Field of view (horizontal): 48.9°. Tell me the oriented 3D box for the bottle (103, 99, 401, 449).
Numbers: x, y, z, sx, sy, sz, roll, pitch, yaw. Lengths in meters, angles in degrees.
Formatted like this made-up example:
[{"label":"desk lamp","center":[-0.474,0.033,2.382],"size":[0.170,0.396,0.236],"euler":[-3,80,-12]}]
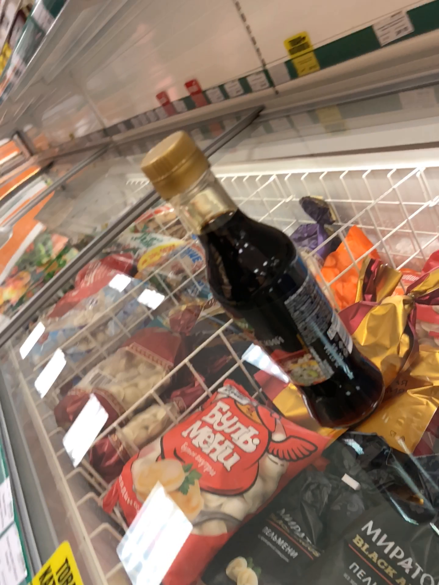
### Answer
[{"label":"bottle","center":[0.034,0.002,0.312],"size":[0.061,0.231,0.062],"euler":[-29,28,17]}]
